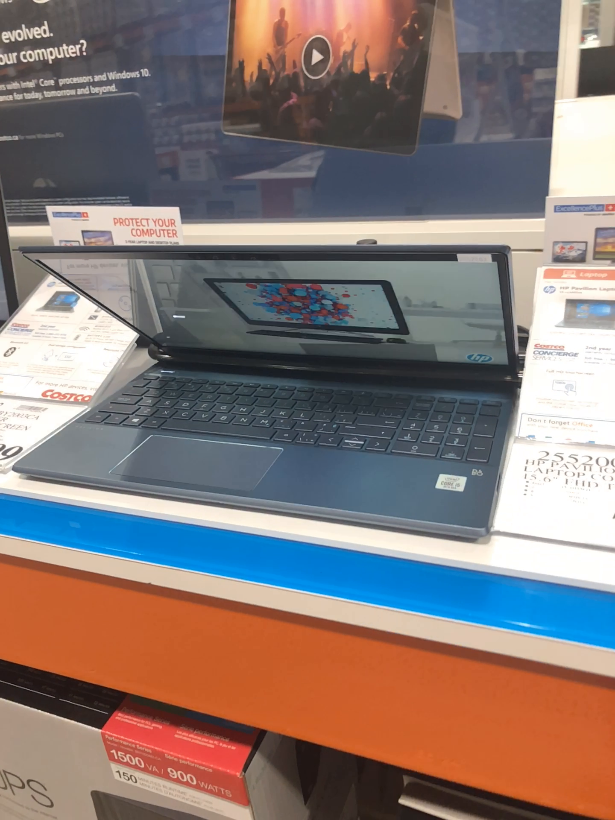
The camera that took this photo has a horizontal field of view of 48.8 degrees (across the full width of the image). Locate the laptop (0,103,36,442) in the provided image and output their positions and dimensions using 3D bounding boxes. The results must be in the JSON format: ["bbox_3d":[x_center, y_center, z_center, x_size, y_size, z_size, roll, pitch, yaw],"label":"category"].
[{"bbox_3d":[-0.520,-0.160,0.673,0.342,0.227,0.288,4,28,19],"label":"laptop"}]

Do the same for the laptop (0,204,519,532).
[{"bbox_3d":[-0.029,-0.057,0.518,0.346,0.149,0.218,5,28,21],"label":"laptop"}]
